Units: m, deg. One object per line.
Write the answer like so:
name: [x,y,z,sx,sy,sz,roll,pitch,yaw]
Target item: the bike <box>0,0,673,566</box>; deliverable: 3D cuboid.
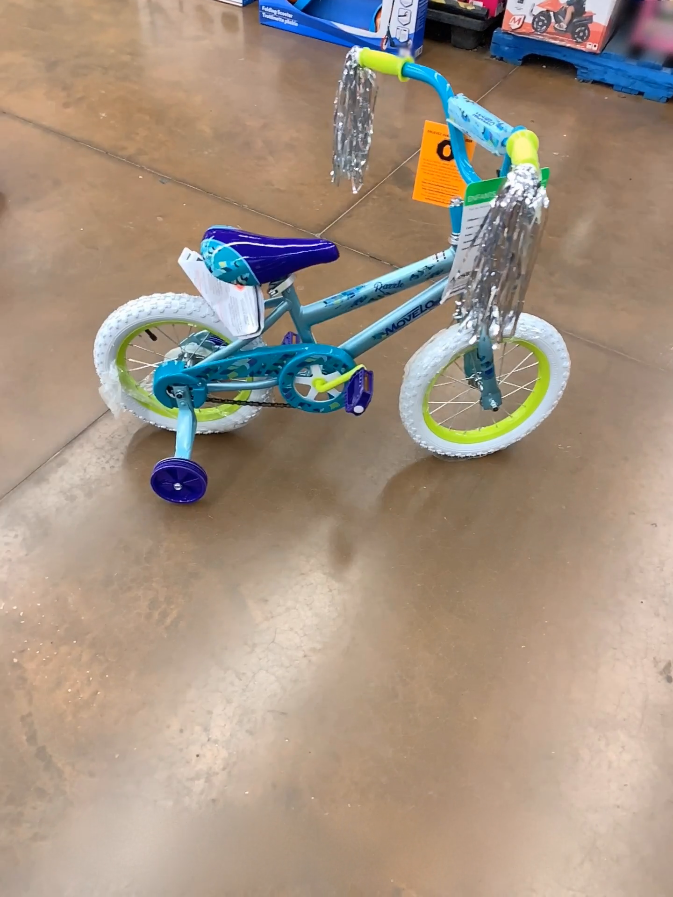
bike: [0.019,-0.254,1.140,0.859,0.639,0.626,-1,48,-7]
